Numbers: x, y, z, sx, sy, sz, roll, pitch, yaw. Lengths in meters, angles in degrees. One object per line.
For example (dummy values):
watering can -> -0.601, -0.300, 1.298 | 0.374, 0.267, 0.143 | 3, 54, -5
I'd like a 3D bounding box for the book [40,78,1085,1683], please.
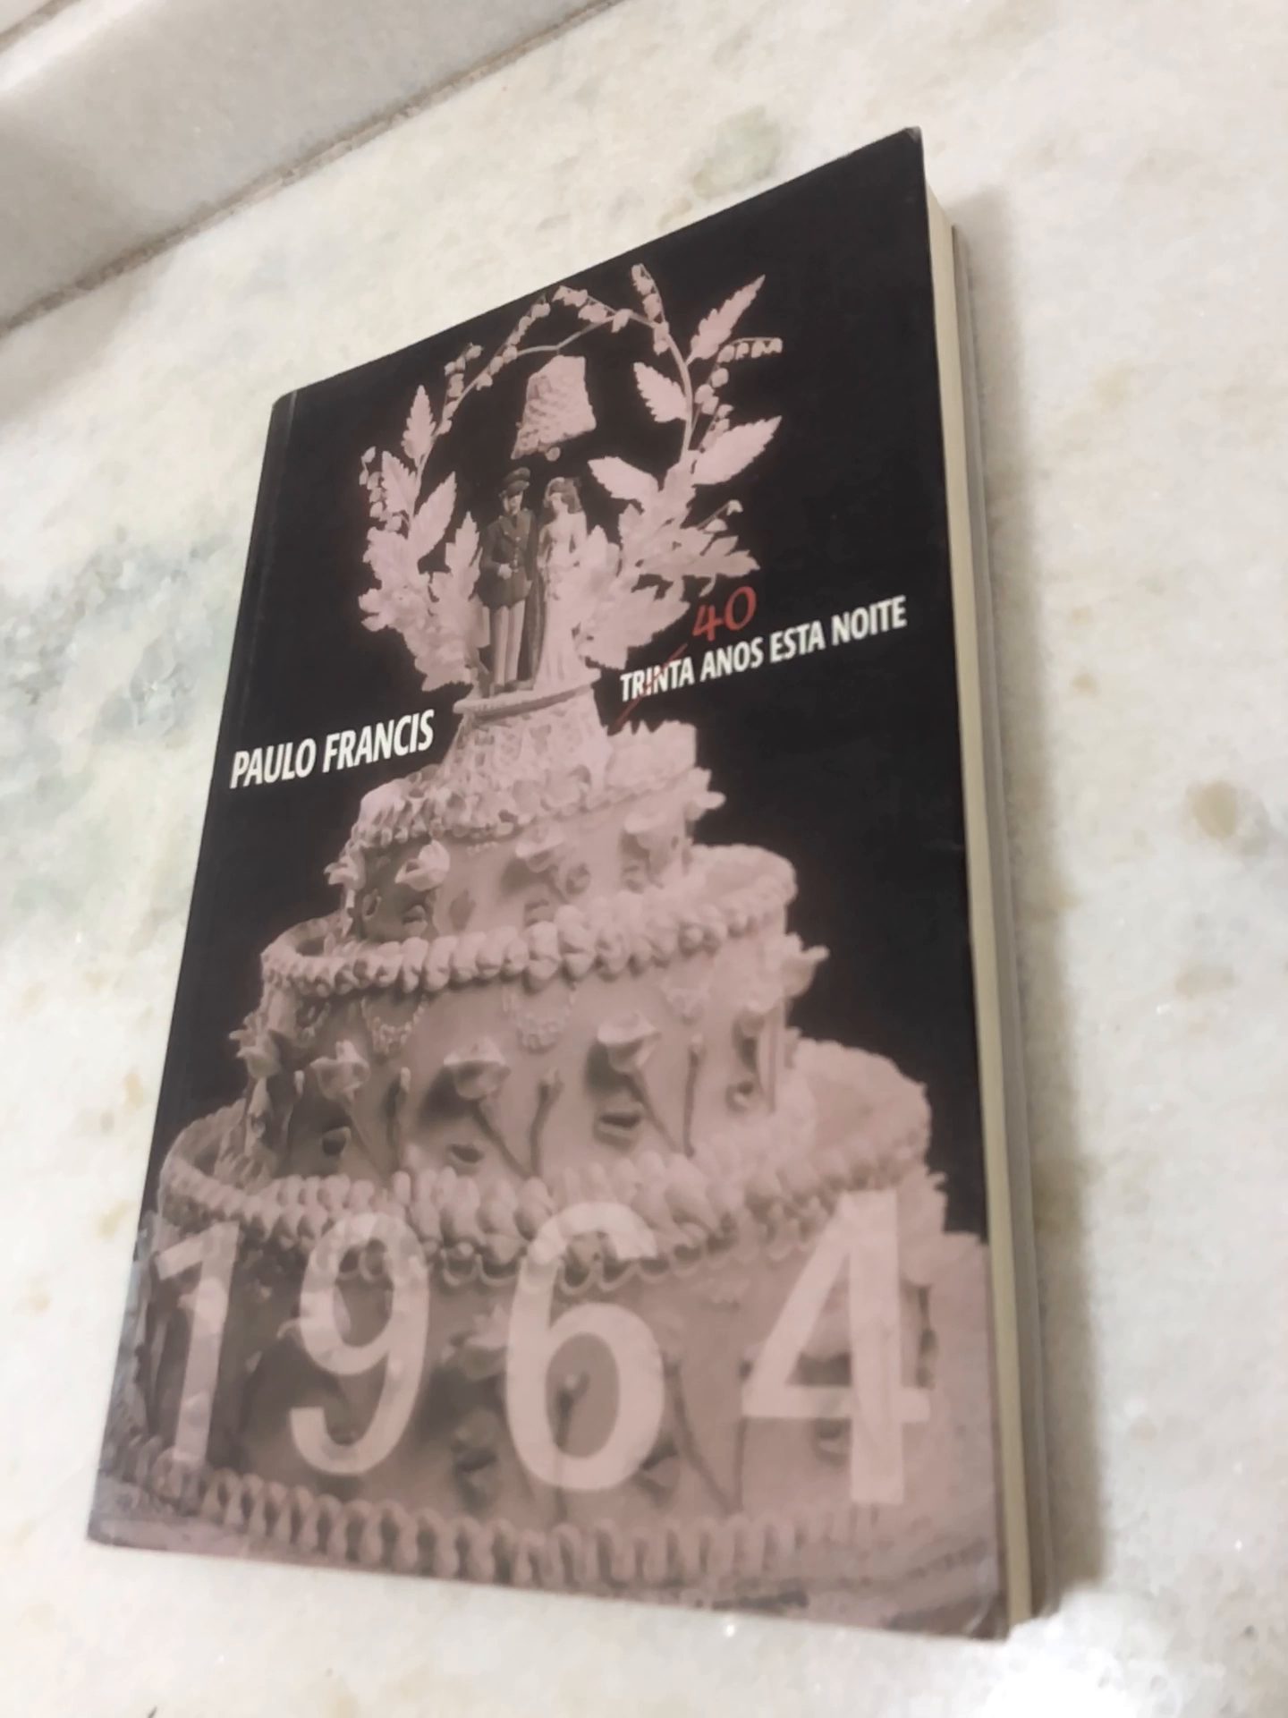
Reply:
book -> -0.017, -0.004, 0.212 | 0.140, 0.020, 0.204 | -11, 66, 29
